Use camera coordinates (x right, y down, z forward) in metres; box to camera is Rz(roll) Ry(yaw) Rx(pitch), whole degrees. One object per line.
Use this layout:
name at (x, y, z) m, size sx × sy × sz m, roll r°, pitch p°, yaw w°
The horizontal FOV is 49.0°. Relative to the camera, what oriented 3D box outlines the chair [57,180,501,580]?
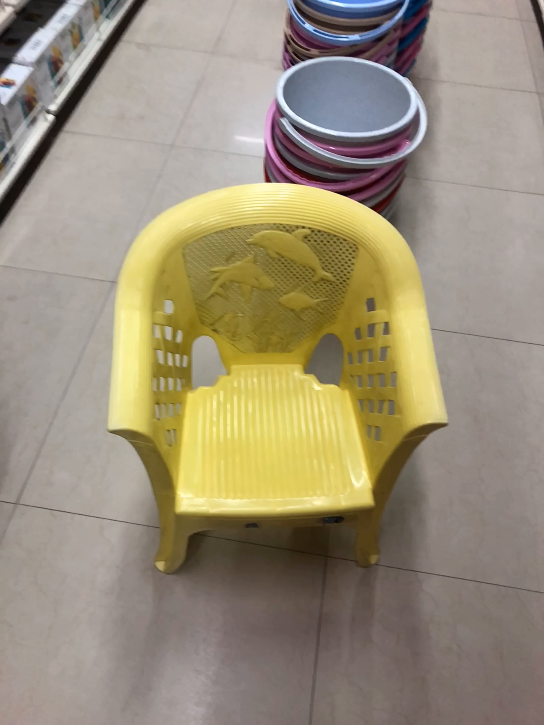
chair at (-0.005, 0.031, 0.930) m, size 0.470 × 0.398 × 0.472 m, roll 0°, pitch 53°, yaw -3°
